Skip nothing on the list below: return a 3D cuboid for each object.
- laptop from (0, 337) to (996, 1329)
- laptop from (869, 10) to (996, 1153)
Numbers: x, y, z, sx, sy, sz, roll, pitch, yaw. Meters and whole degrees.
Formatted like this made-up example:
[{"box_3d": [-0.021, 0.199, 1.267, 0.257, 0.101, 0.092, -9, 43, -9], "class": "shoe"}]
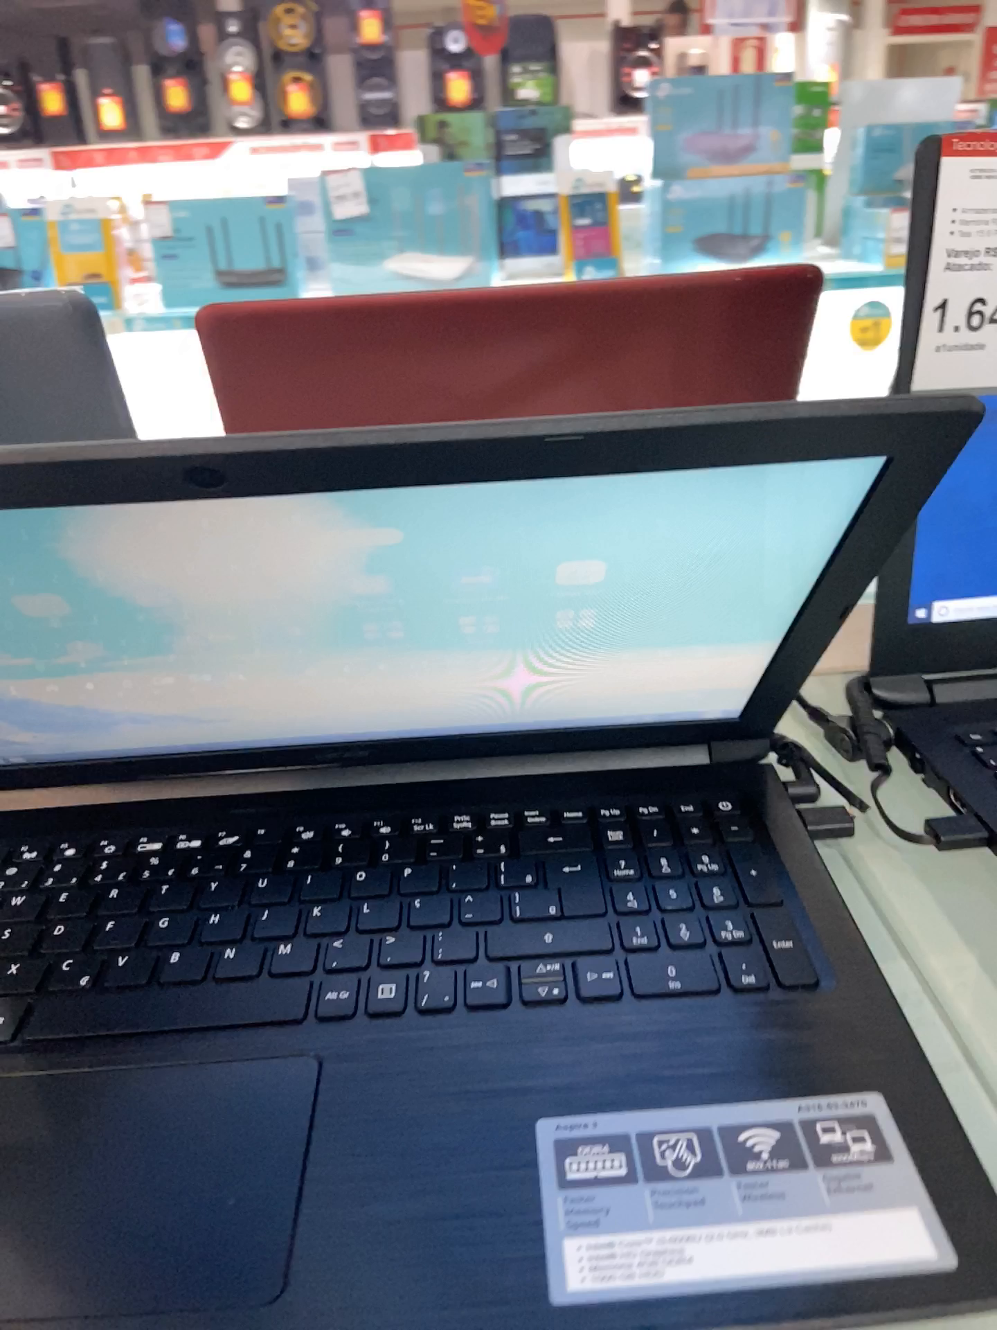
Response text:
[{"box_3d": [-0.070, 0.027, 0.309, 0.373, 0.186, 0.235, -4, 25, 0], "class": "laptop"}, {"box_3d": [0.401, -0.068, 0.370, 0.431, 0.246, 0.286, -5, 25, -5], "class": "laptop"}]
